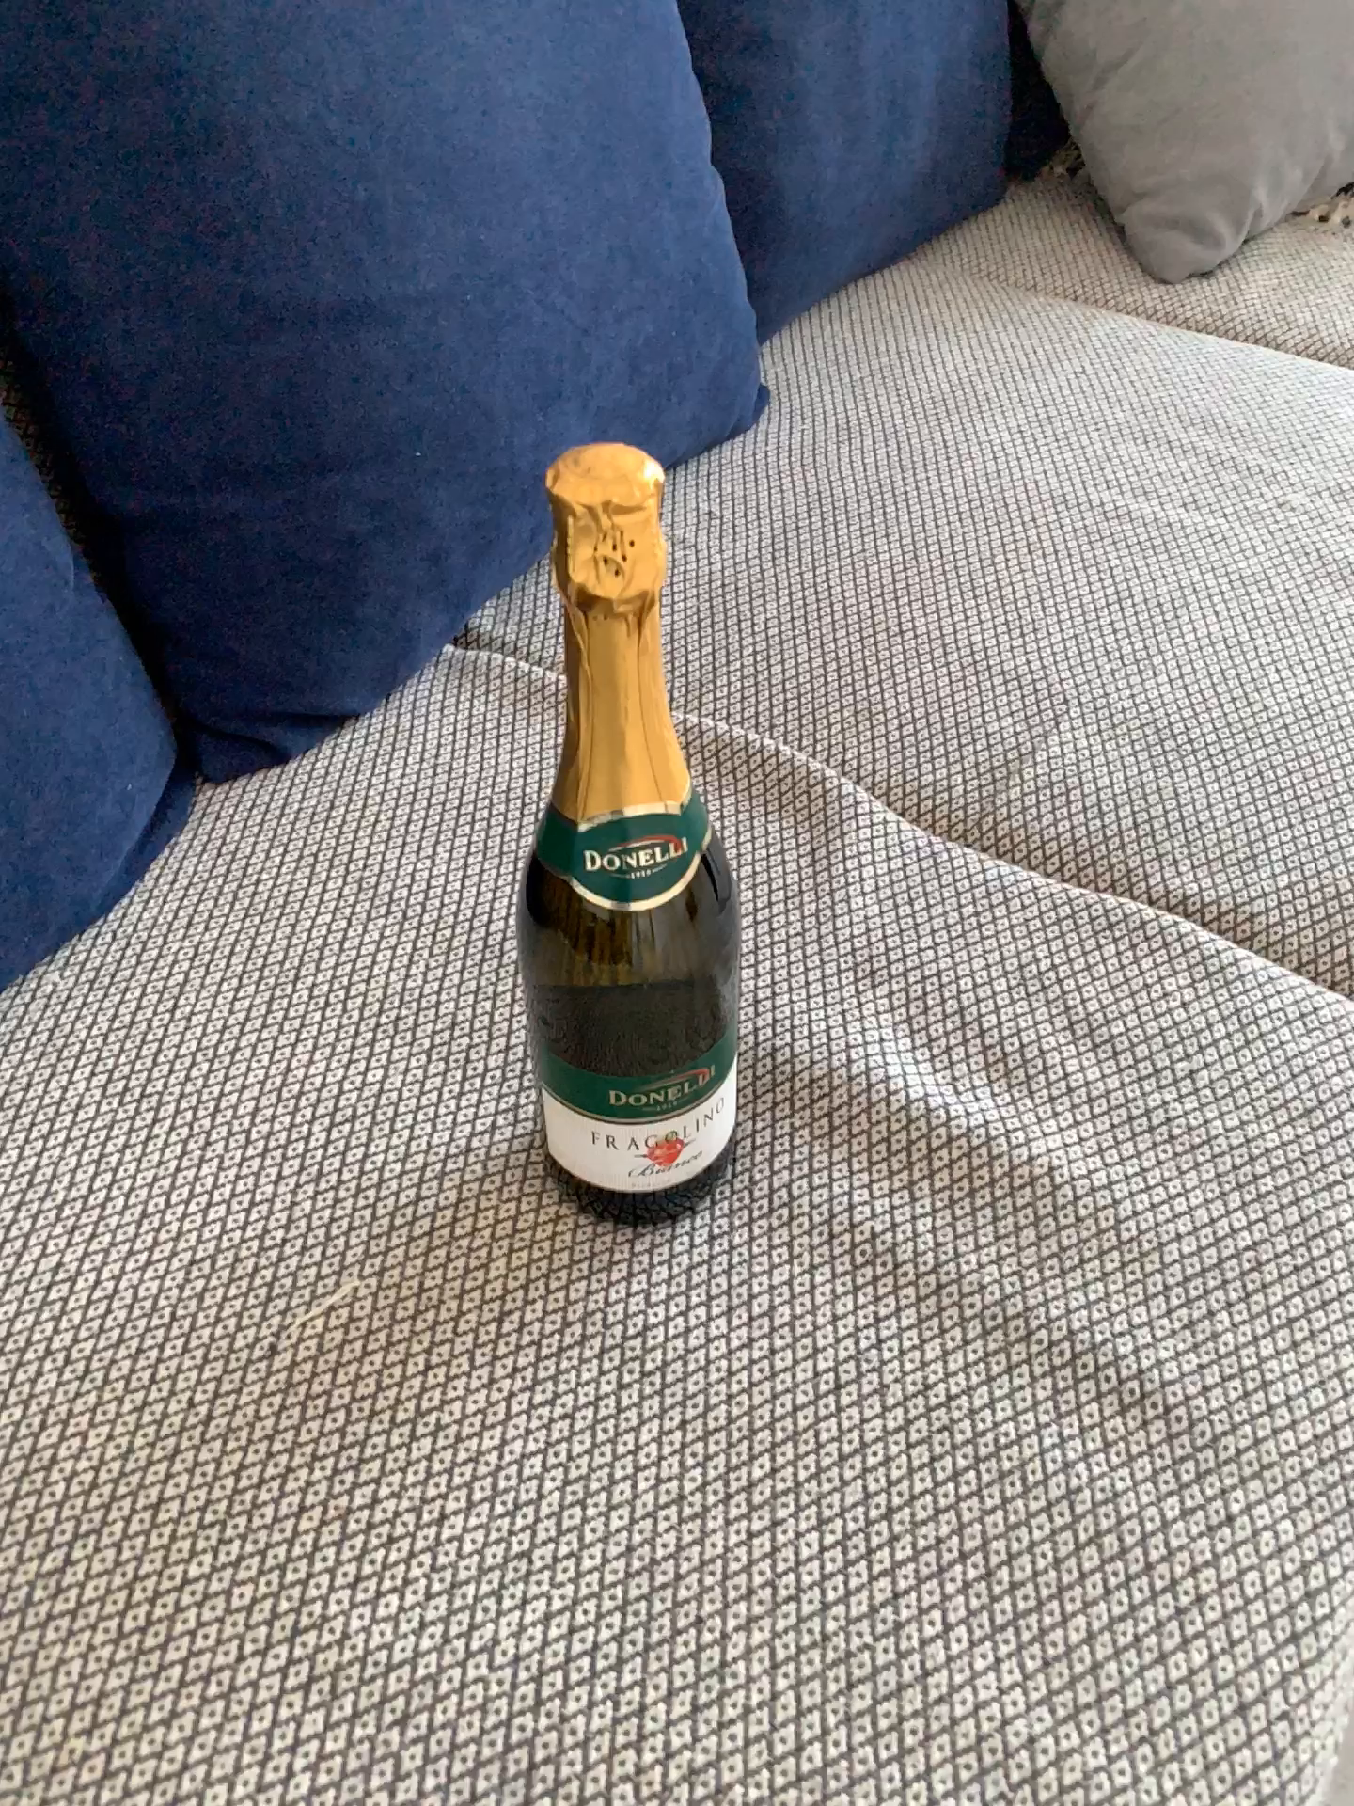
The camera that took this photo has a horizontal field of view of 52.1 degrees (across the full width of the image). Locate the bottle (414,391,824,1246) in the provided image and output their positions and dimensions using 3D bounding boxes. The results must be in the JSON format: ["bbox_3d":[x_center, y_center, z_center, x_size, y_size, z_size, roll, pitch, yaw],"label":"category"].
[{"bbox_3d":[-0.019,-0.009,0.471,0.090,0.289,0.090,0,45,0],"label":"bottle"}]
